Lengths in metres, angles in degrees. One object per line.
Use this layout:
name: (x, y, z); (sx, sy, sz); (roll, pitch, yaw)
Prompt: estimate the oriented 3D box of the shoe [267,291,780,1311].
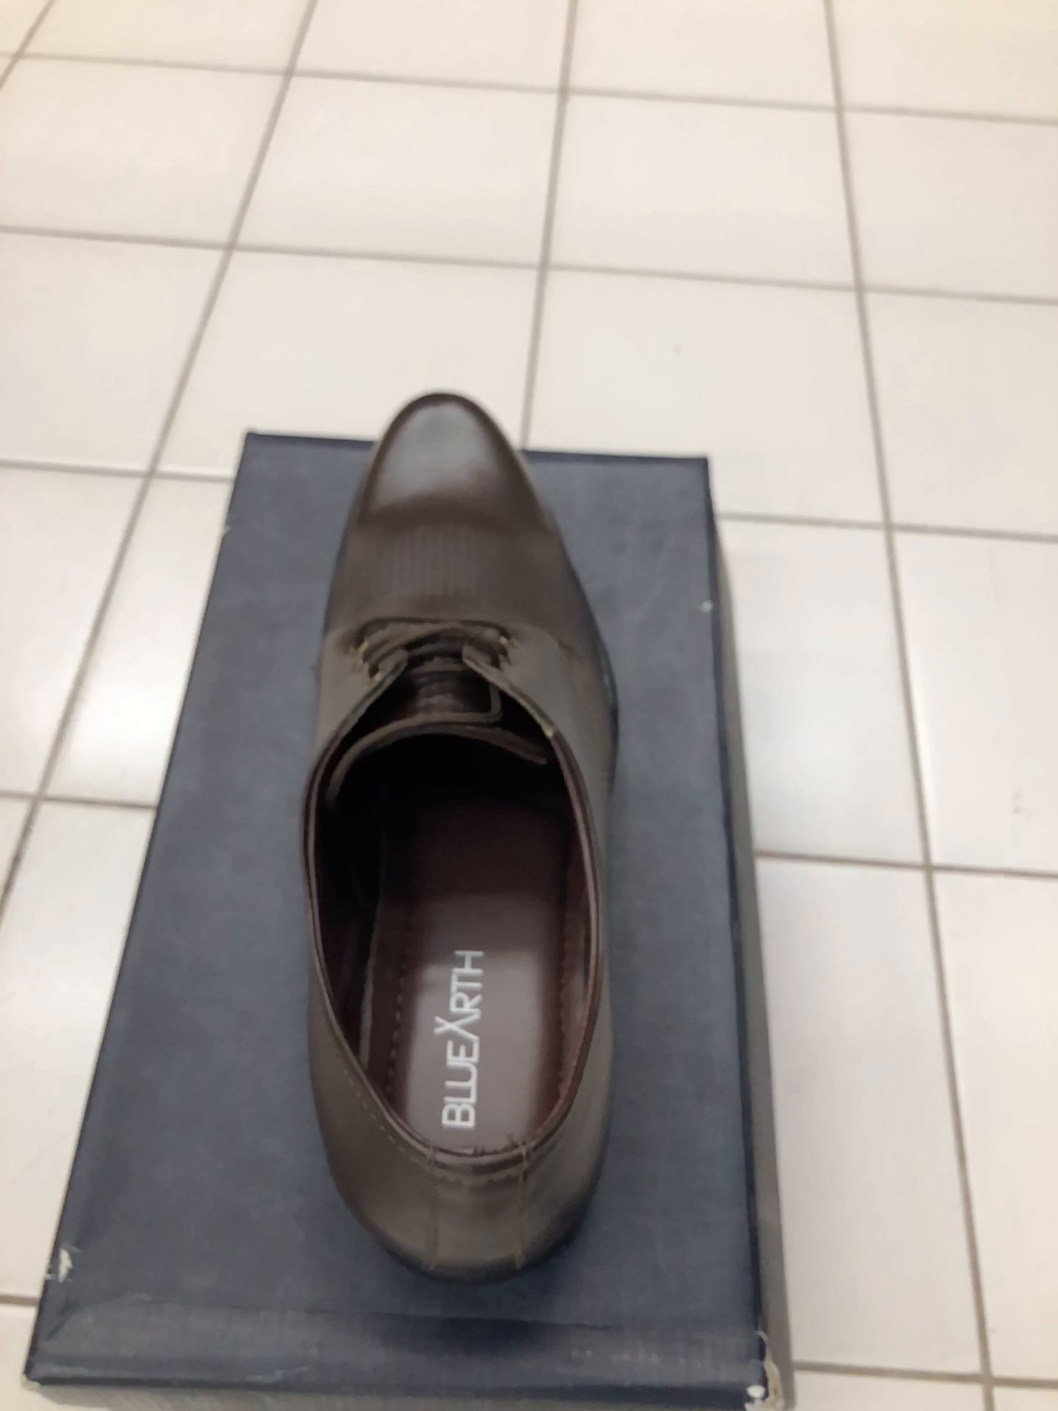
shoe: (-0.011, 0.014, 0.362); (0.104, 0.109, 0.291); (-1, 58, -4)
